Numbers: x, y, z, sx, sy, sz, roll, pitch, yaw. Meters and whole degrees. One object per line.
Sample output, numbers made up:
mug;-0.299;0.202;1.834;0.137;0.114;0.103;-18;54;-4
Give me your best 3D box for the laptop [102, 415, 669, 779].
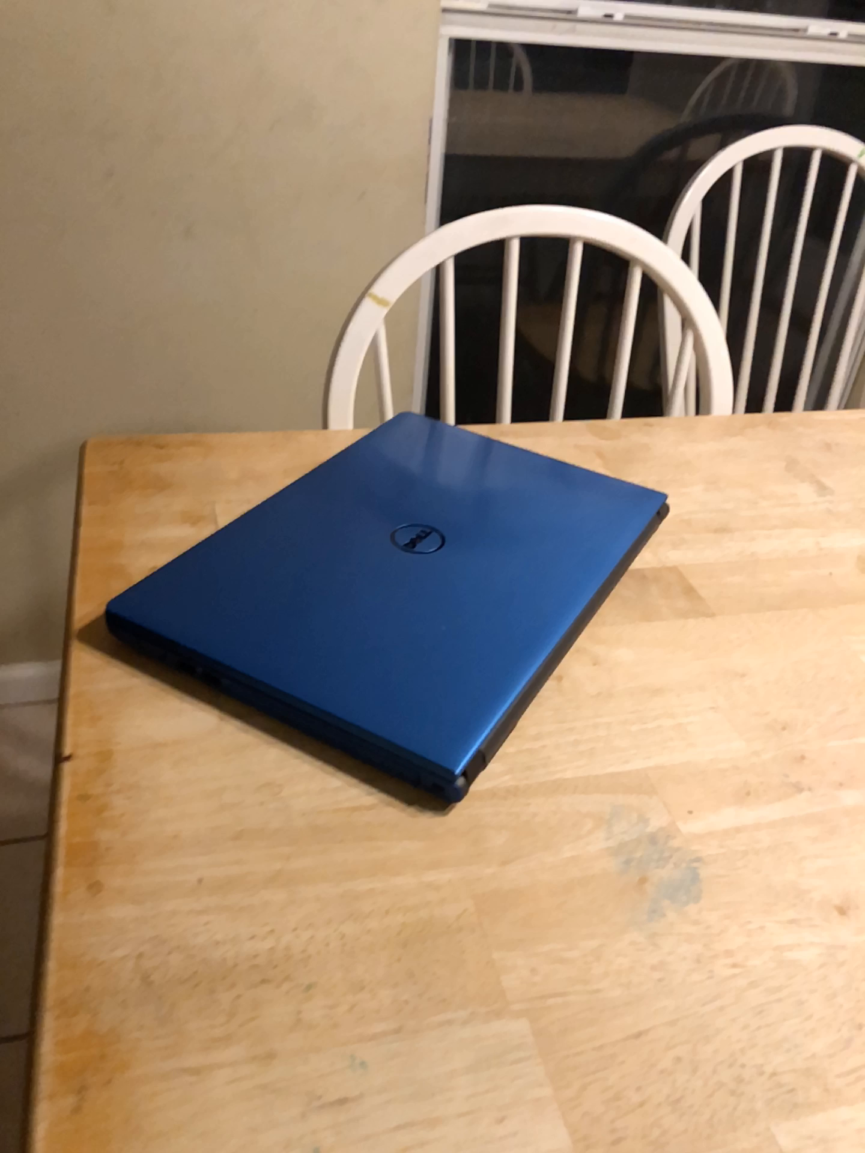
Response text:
laptop;-0.006;-0.022;0.710;0.259;0.001;0.390;21;36;21
